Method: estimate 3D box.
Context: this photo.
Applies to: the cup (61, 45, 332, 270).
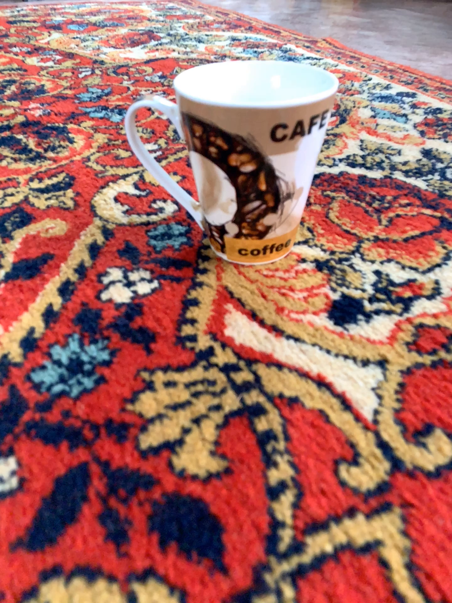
[{"bbox_3d":[-0.008,-0.079,0.239,0.110,0.079,0.081,8,38,9],"label":"cup"}]
